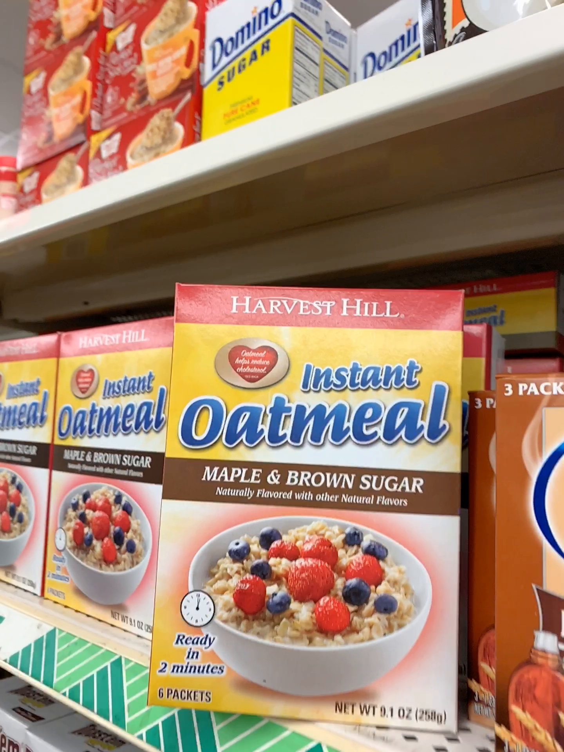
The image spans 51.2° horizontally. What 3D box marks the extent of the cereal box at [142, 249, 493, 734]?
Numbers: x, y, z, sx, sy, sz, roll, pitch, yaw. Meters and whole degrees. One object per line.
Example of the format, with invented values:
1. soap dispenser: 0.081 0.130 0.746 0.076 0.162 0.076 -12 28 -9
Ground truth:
1. cereal box: 0.018 0.041 0.256 0.130 0.180 0.050 2 -7 5
